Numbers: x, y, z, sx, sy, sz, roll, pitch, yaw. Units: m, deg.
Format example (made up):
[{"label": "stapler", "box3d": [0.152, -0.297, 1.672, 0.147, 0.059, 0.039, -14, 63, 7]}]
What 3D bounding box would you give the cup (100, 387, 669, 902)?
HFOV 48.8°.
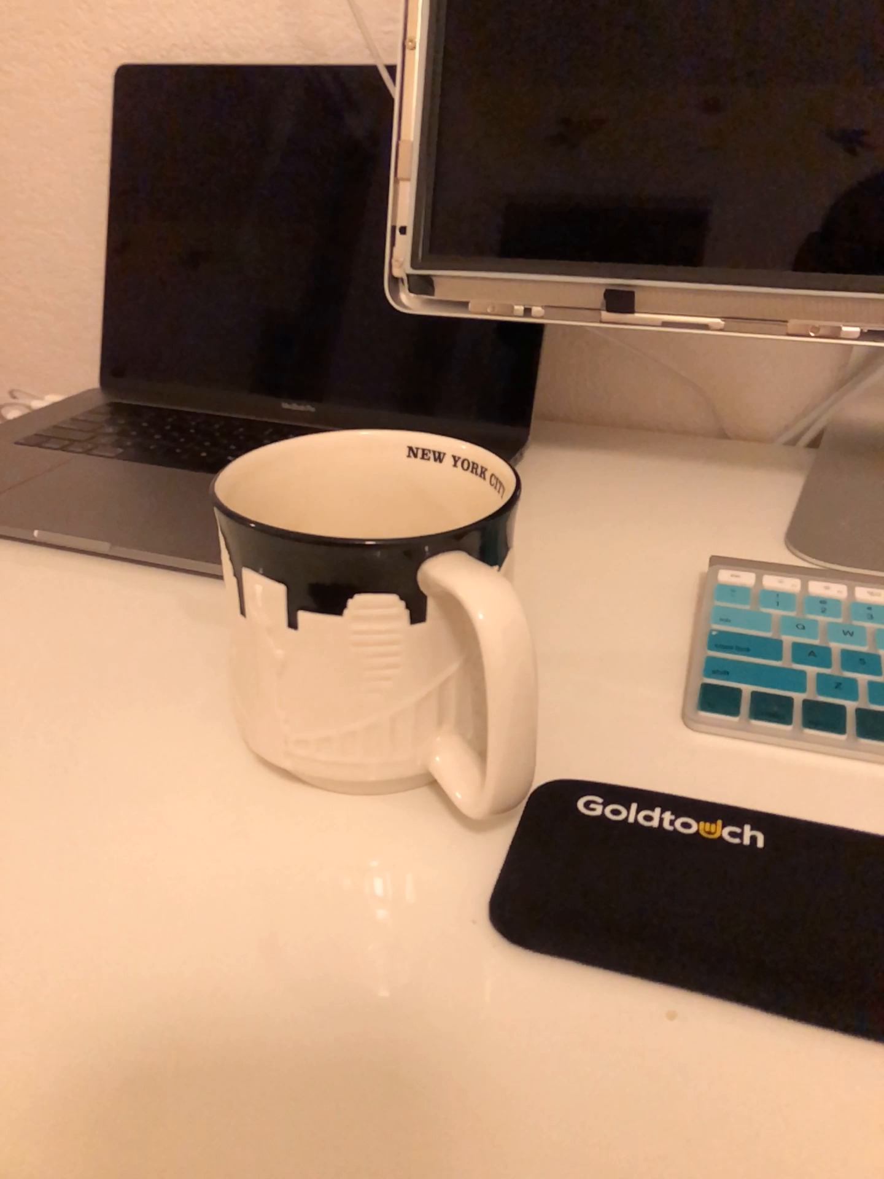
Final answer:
[{"label": "cup", "box3d": [-0.024, 0.002, 0.327, 0.110, 0.089, 0.150, -21, 34, -36]}]
